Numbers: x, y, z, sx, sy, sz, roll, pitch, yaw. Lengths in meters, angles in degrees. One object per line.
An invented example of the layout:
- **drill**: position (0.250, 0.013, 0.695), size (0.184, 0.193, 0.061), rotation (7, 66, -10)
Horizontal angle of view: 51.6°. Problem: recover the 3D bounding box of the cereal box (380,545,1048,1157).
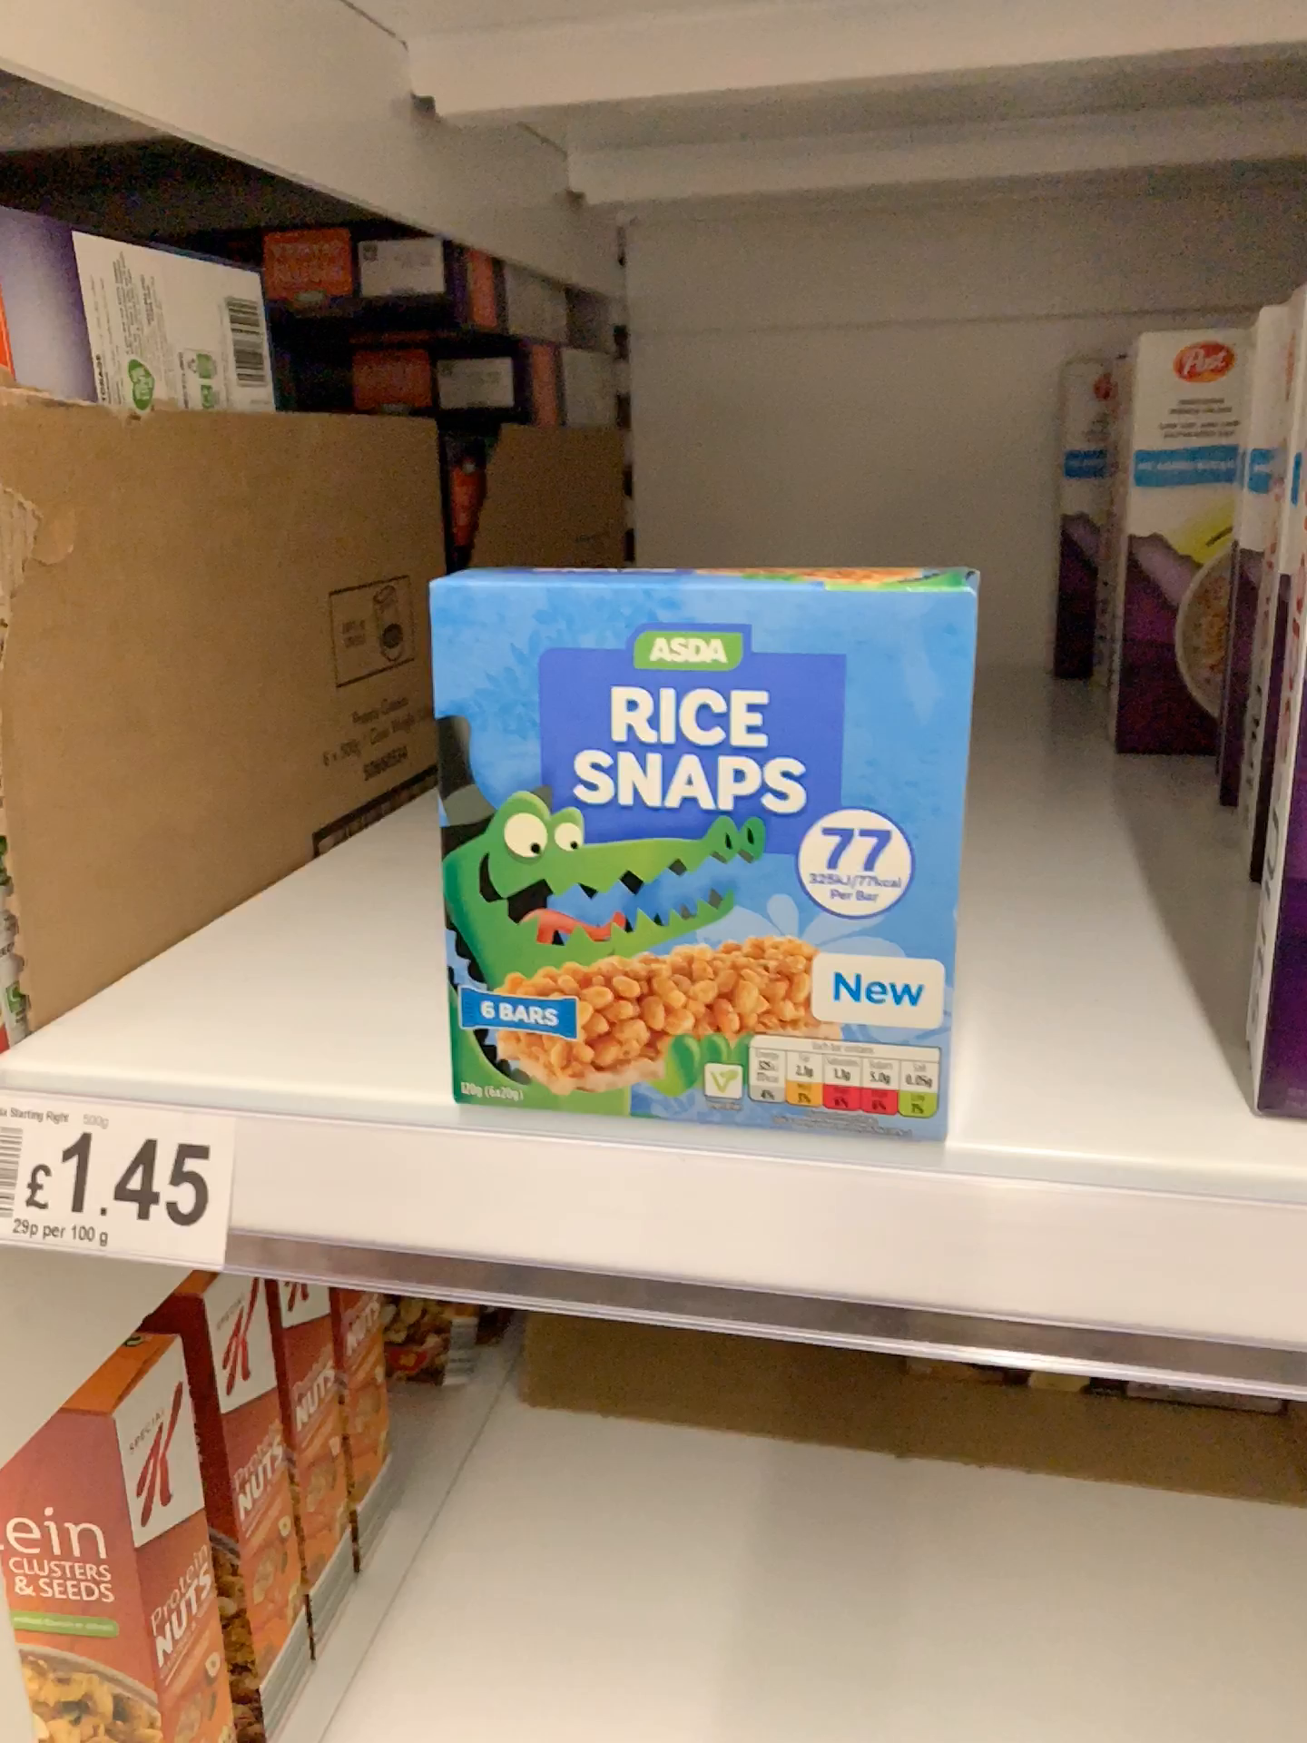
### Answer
- **cereal box**: position (0.014, -0.009, 0.322), size (0.140, 0.129, 0.050), rotation (3, 17, 11)
